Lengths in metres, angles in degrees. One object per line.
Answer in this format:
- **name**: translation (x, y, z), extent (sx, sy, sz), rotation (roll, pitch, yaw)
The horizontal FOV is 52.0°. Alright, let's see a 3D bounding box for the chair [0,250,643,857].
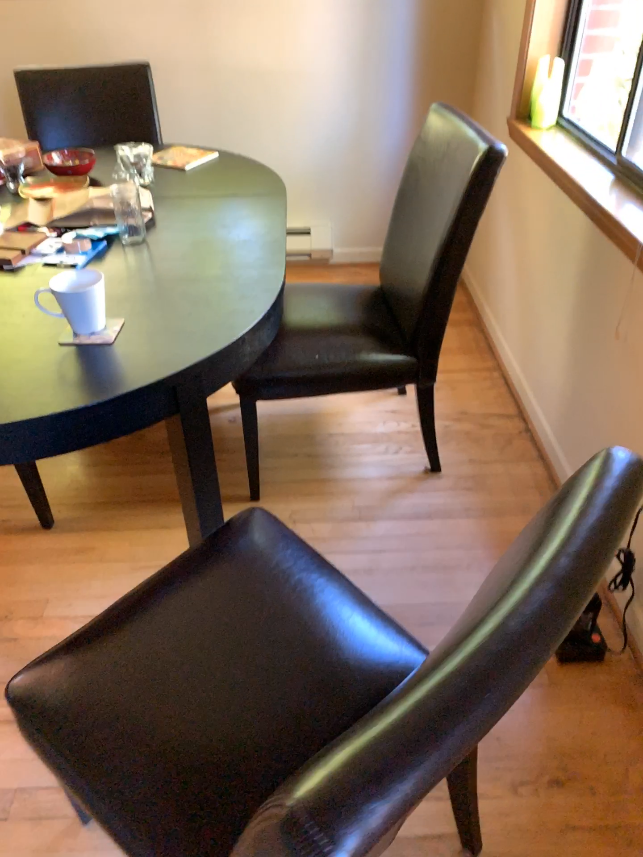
- **chair**: translation (-0.049, 0.437, 0.965), extent (0.653, 1.083, 0.621), rotation (28, 46, 32)
